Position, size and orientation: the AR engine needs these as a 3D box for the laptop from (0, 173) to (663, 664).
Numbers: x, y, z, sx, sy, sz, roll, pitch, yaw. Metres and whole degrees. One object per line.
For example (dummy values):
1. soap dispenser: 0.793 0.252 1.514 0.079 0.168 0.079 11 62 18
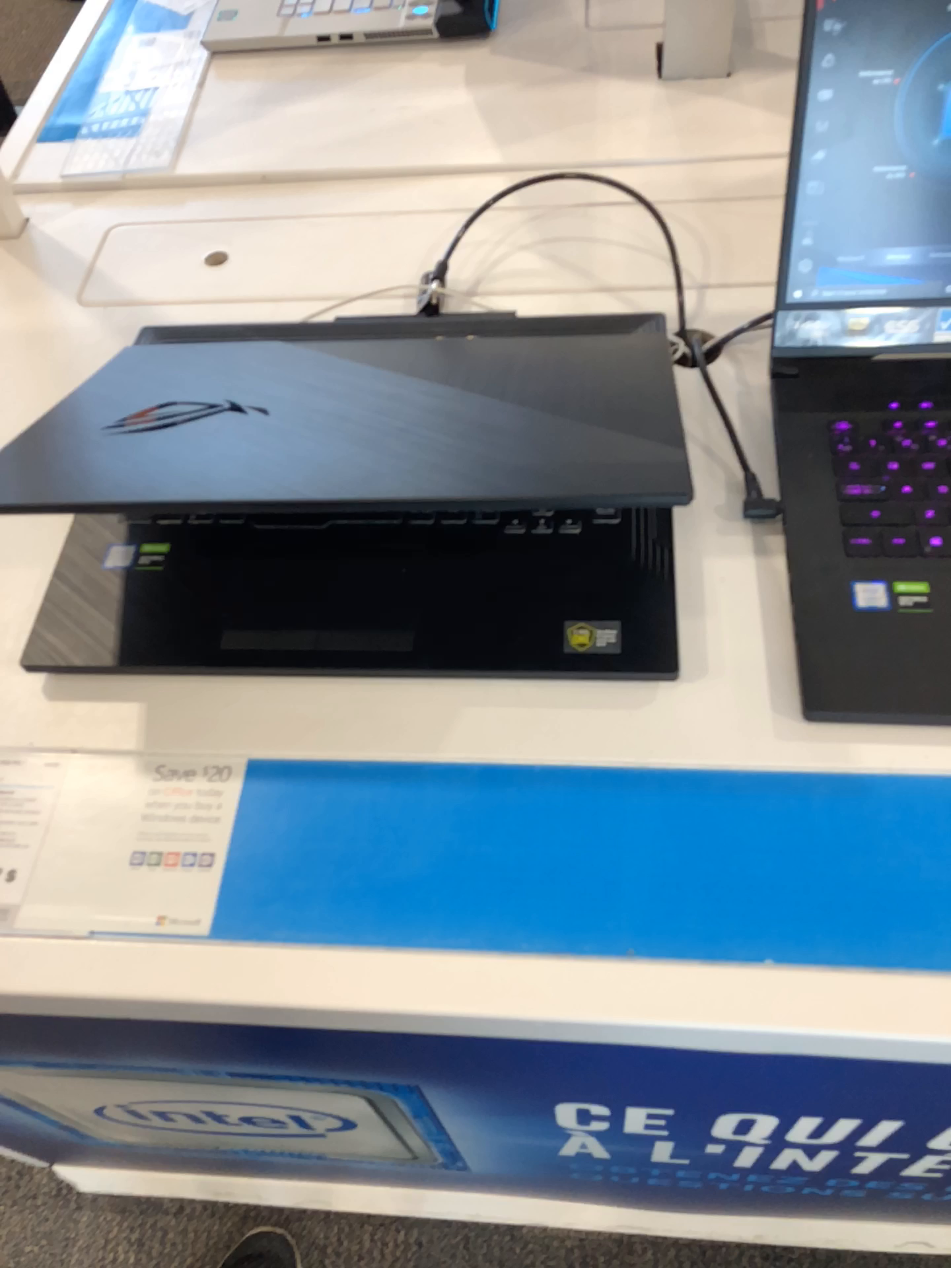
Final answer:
1. laptop: -0.067 -0.121 0.574 0.331 0.097 0.263 0 57 9
